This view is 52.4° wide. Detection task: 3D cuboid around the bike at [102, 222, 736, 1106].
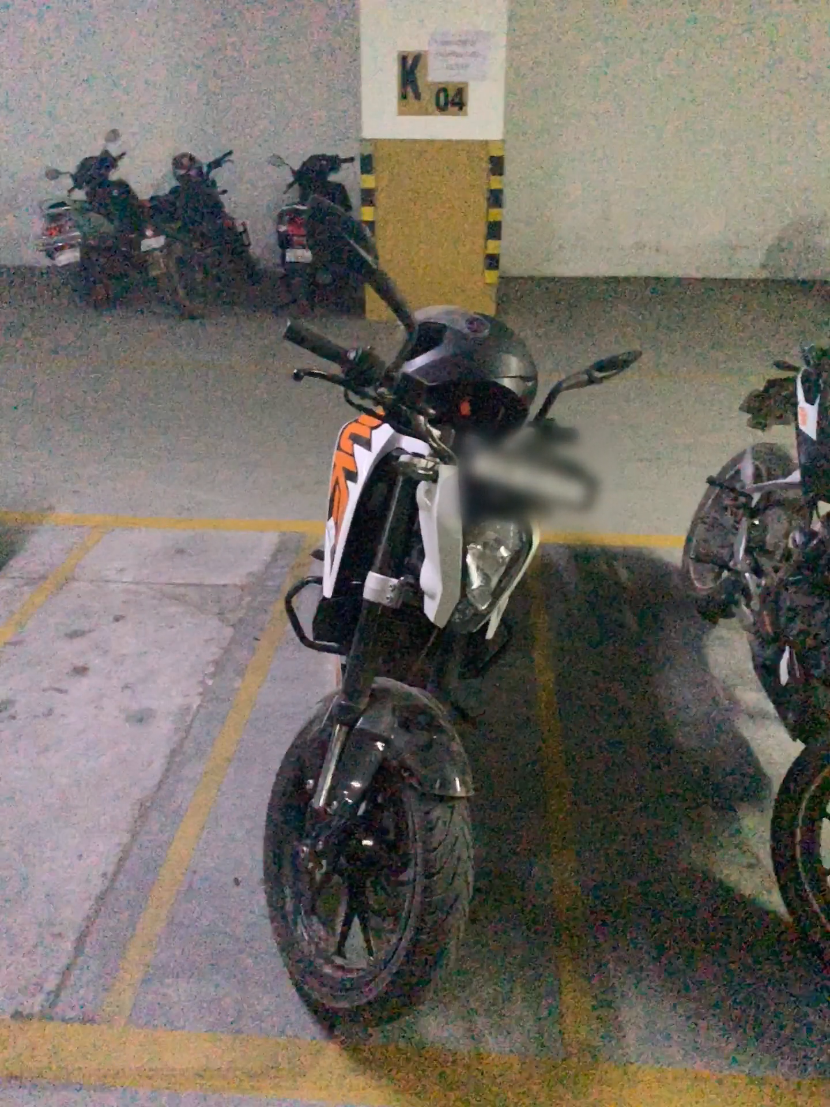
[{"bbox_3d":[0.068,0.016,2.135,0.803,1.182,1.922,2,32,3],"label":"bike"}]
